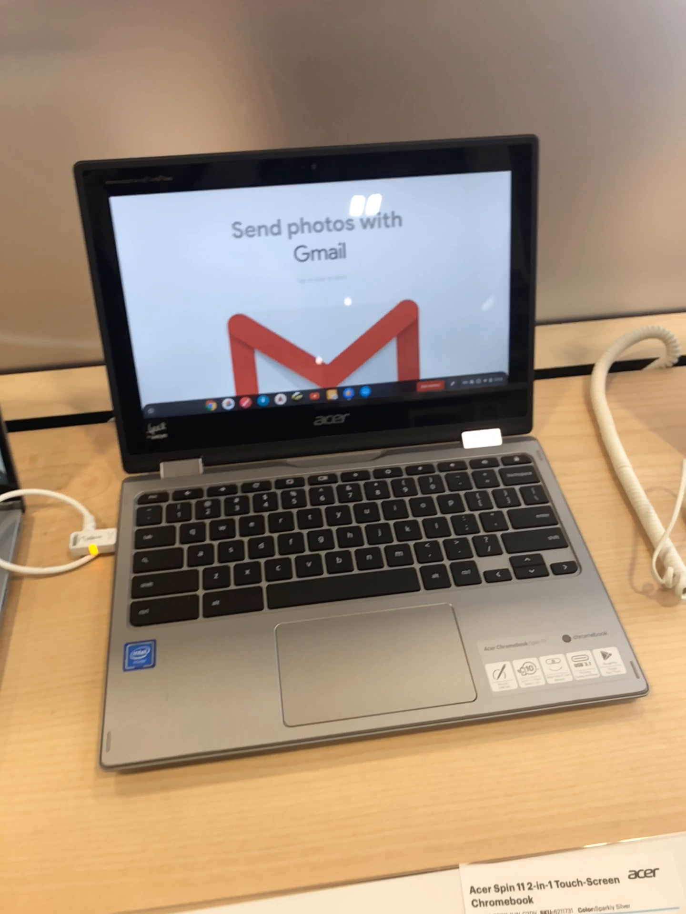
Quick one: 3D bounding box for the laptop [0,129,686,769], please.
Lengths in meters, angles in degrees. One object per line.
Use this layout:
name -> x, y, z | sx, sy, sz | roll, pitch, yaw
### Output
laptop -> -0.002, -0.027, 0.433 | 0.287, 0.176, 0.296 | -6, 47, -6
